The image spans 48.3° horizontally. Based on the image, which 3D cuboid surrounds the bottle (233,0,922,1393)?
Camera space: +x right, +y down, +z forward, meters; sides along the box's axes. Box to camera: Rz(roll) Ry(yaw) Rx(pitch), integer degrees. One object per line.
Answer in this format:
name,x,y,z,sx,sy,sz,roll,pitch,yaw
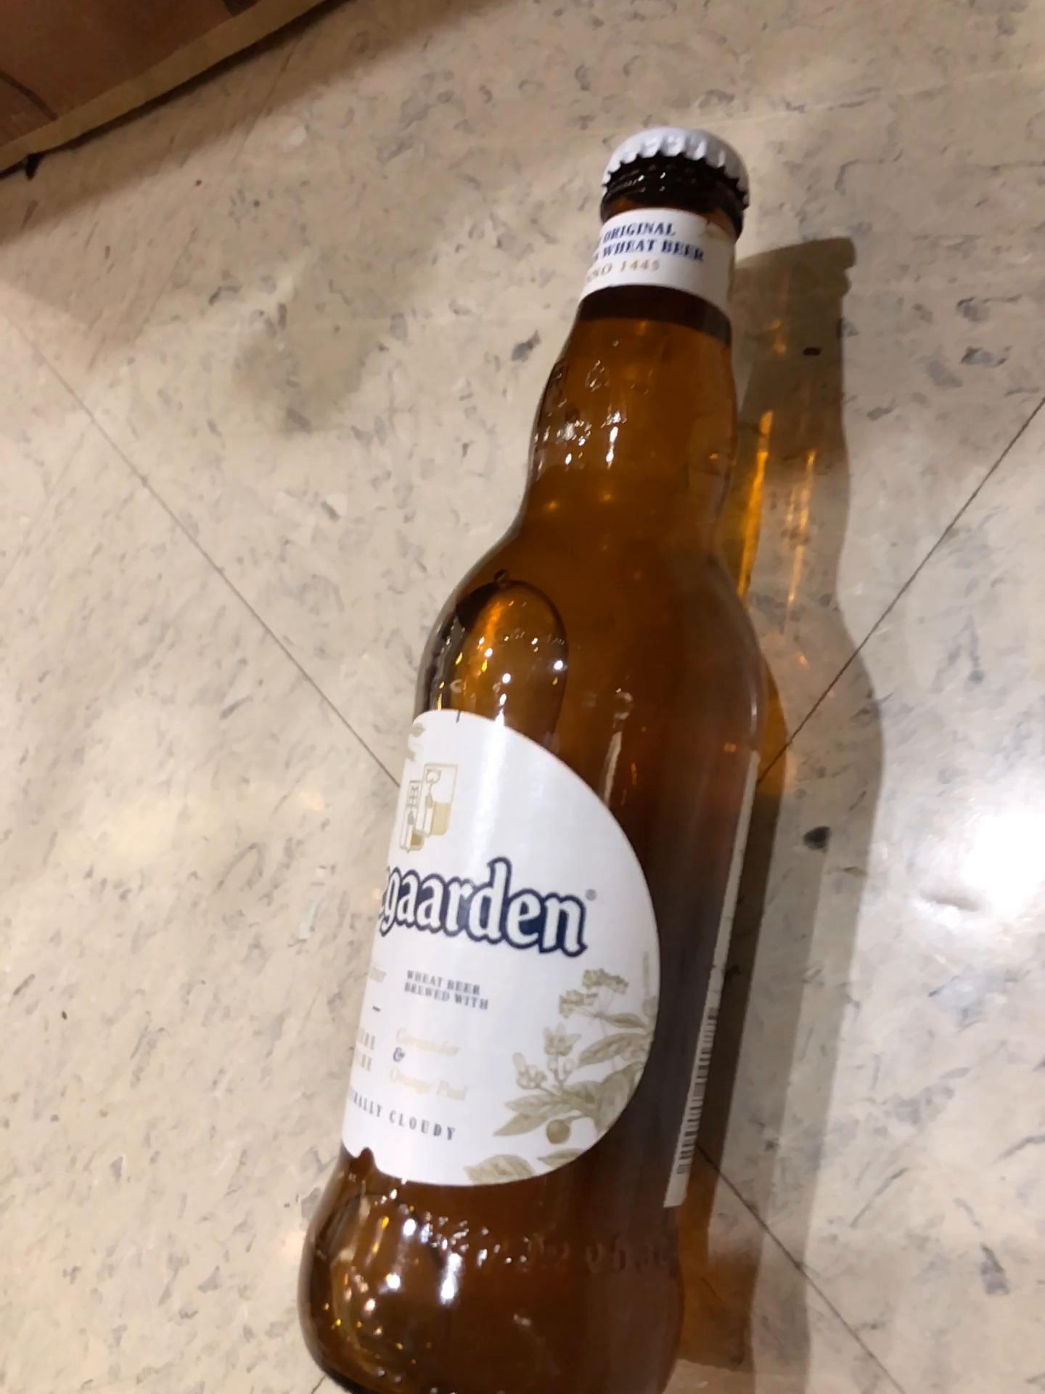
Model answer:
bottle,0.014,-0.001,0.204,0.070,0.050,0.230,1,76,40
